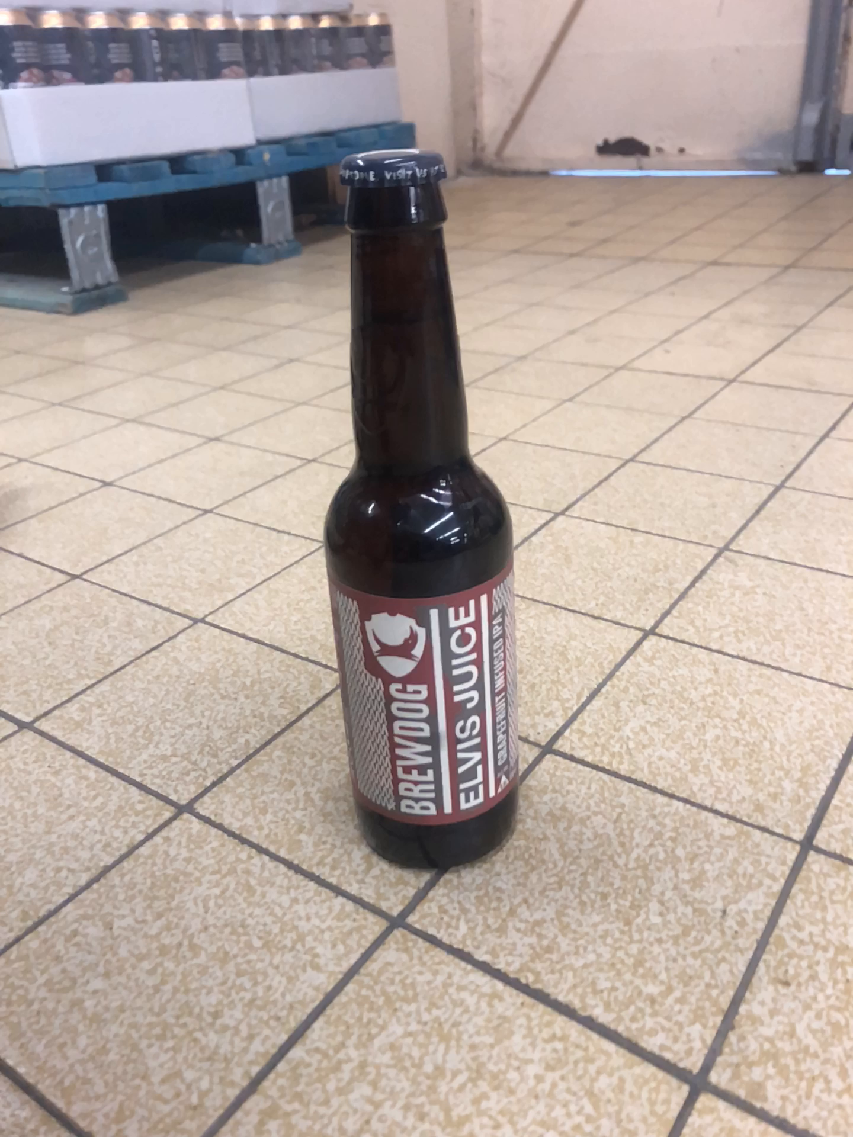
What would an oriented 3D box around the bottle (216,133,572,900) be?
[{"bbox_3d":[0.002,-0.011,0.280,0.070,0.209,0.070,-3,26,1],"label":"bottle"}]
